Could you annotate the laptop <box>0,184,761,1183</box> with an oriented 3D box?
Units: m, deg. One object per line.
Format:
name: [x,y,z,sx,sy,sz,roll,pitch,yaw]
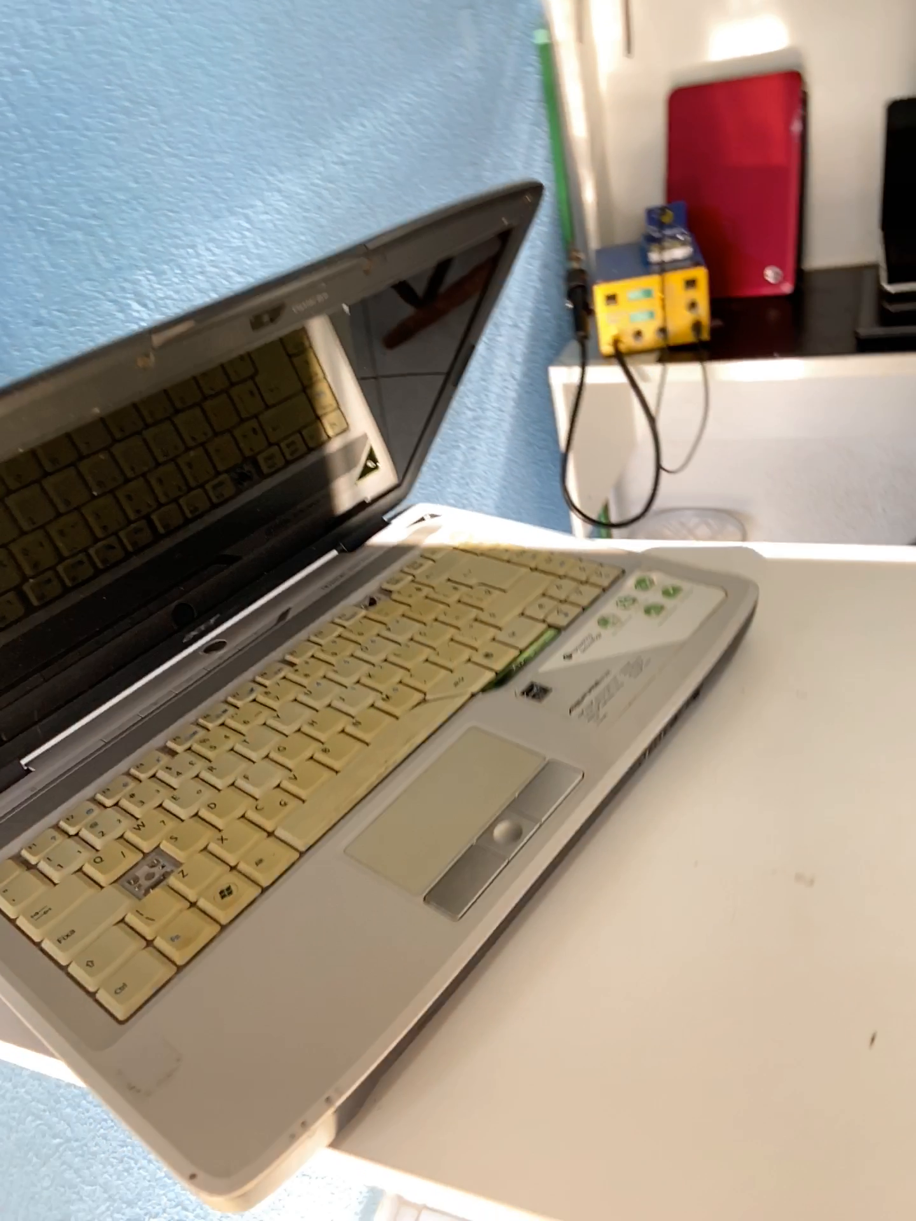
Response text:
laptop: [-0.063,-0.029,0.376,0.225,0.179,0.329,17,43,38]
